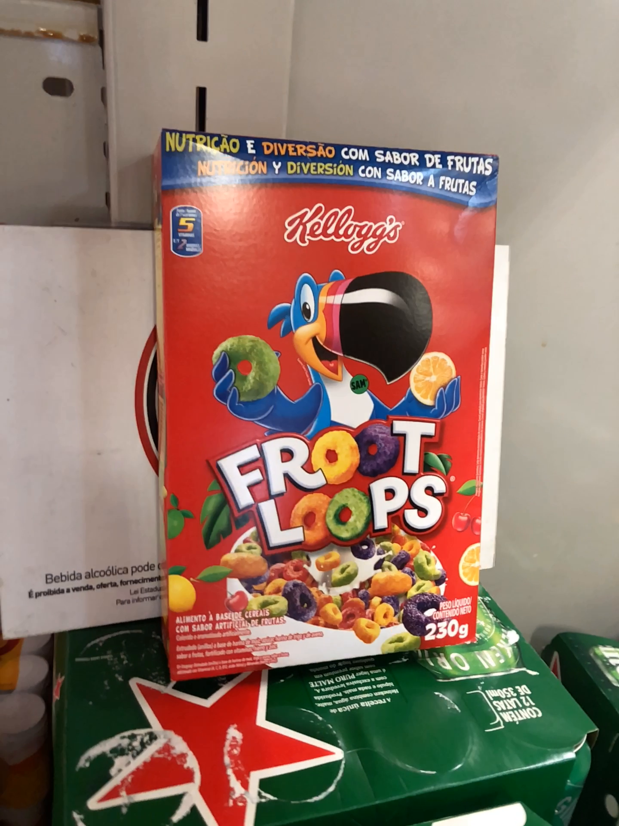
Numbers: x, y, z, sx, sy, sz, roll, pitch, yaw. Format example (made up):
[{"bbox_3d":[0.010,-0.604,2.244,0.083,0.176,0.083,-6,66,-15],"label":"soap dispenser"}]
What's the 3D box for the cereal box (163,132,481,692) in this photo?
[{"bbox_3d":[0.004,-0.001,0.364,0.150,0.259,0.060,-2,8,-16],"label":"cereal box"}]
